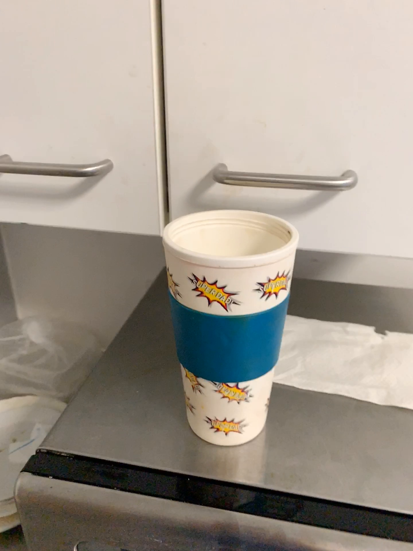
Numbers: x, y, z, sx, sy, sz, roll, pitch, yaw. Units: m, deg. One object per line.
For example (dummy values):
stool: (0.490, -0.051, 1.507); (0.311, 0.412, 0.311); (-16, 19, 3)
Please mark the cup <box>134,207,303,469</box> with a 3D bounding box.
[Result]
cup: (0.013, 0.038, 0.306); (0.093, 0.146, 0.097); (0, 24, 0)
